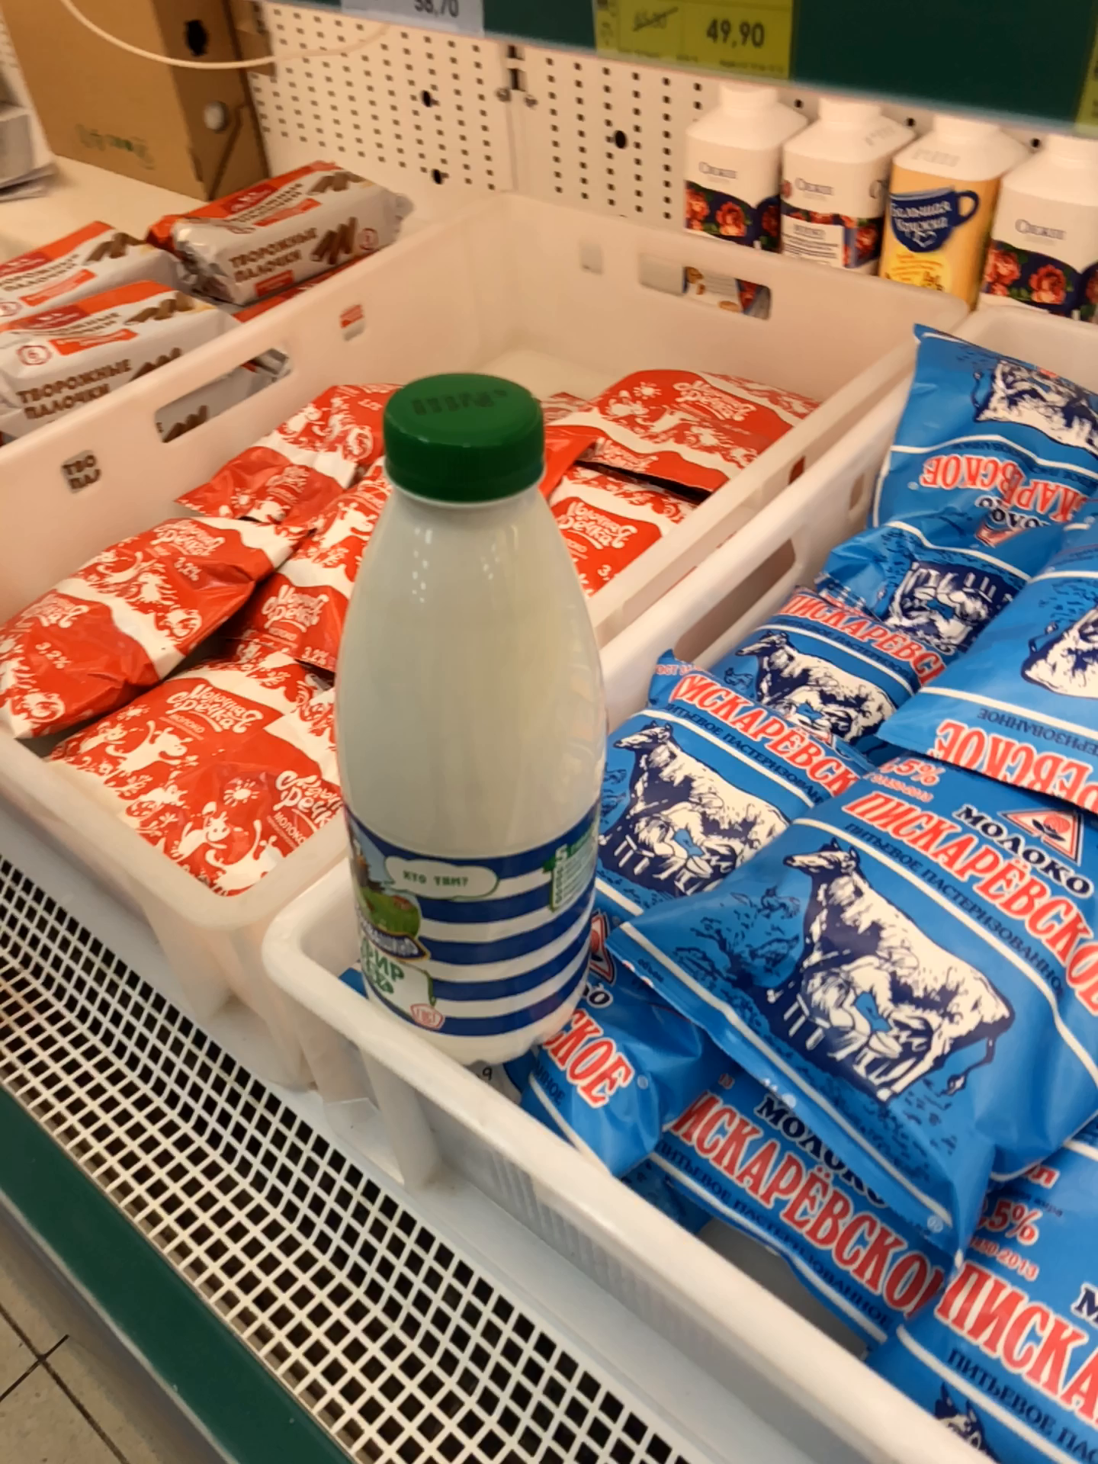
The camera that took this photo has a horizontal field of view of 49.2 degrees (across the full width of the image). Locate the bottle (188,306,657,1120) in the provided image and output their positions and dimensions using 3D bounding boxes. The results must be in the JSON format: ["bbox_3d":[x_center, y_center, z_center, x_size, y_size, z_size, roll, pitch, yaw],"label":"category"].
[{"bbox_3d":[-0.030,0.004,0.363,0.080,0.223,0.084,-1,41,1],"label":"bottle"}]
